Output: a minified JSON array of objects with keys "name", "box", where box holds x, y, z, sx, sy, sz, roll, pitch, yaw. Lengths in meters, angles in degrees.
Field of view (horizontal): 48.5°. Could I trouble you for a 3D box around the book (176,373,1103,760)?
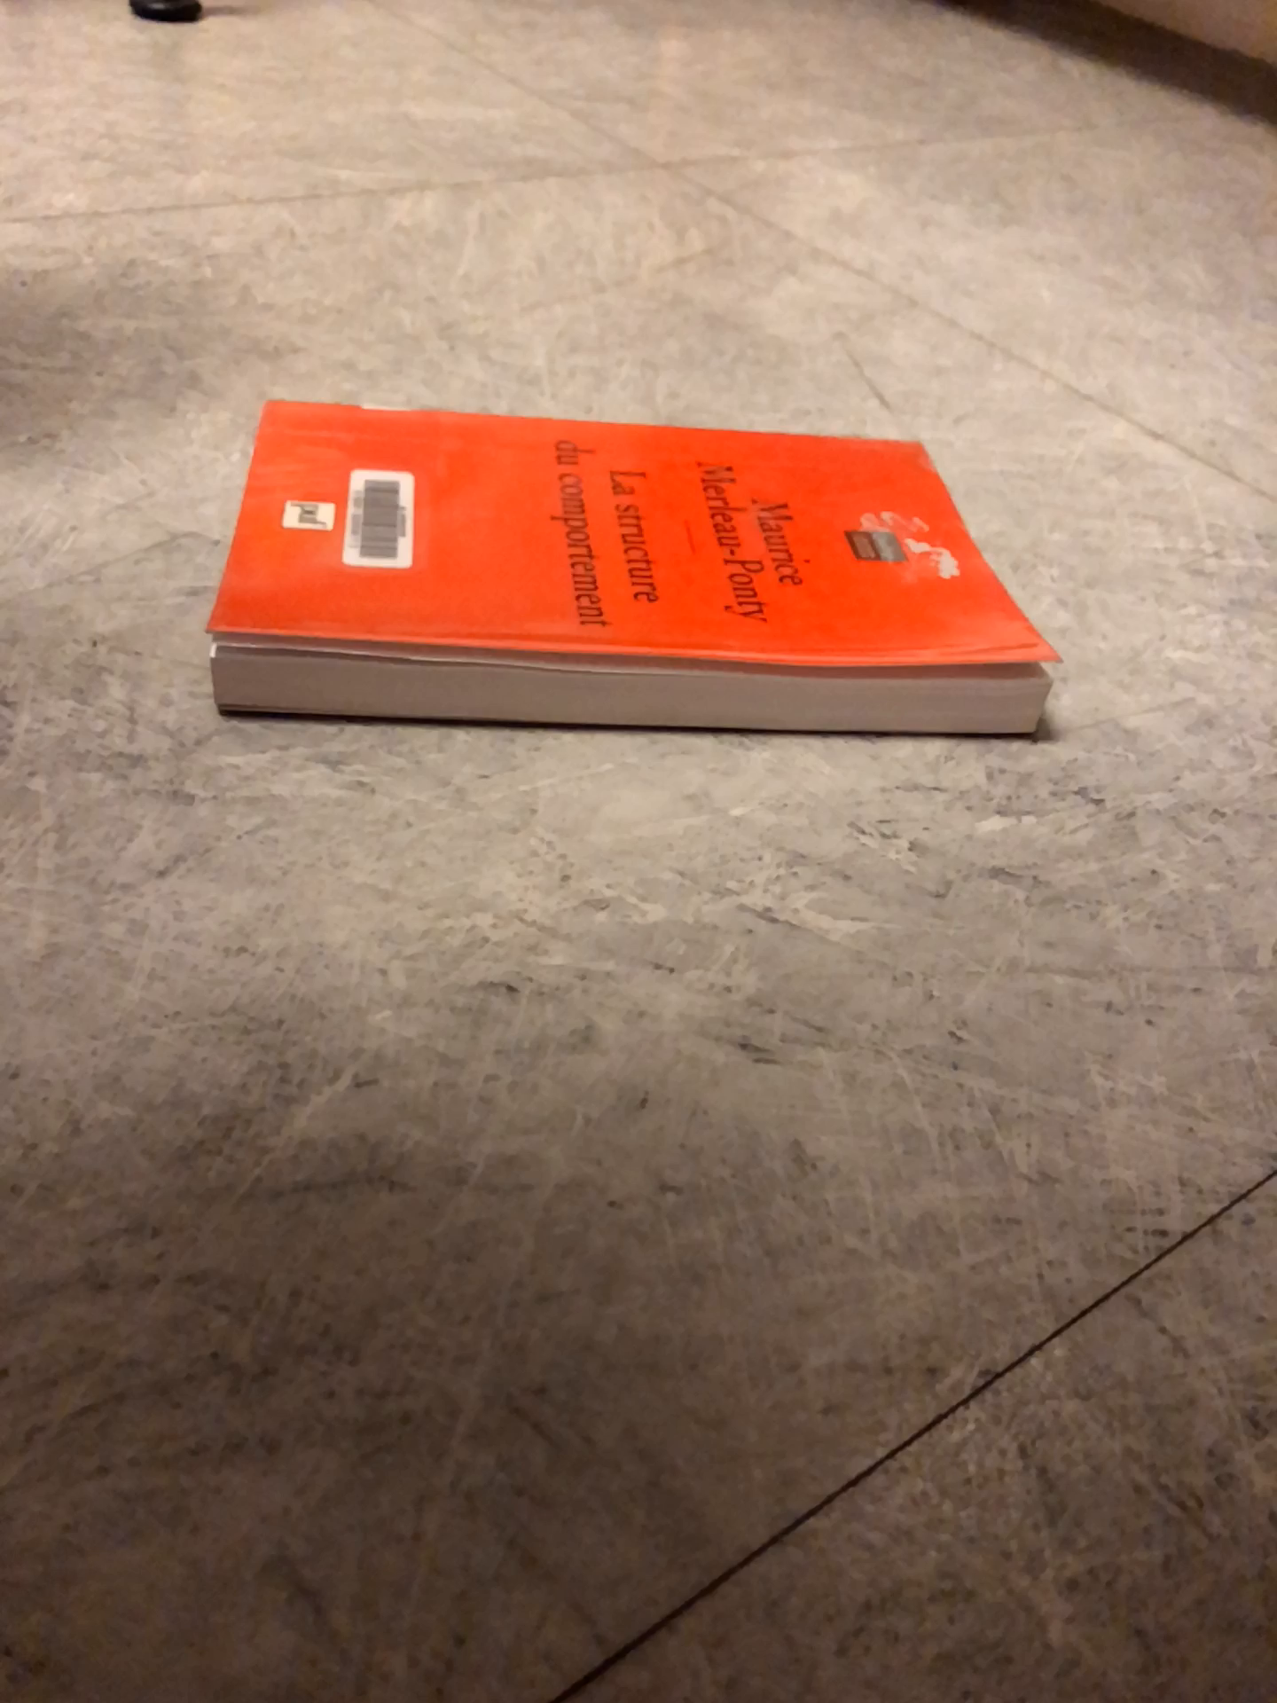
[{"name":"book","box":[-0.002,-0.076,0.359,0.200,0.020,0.136,1,42,-9]}]
